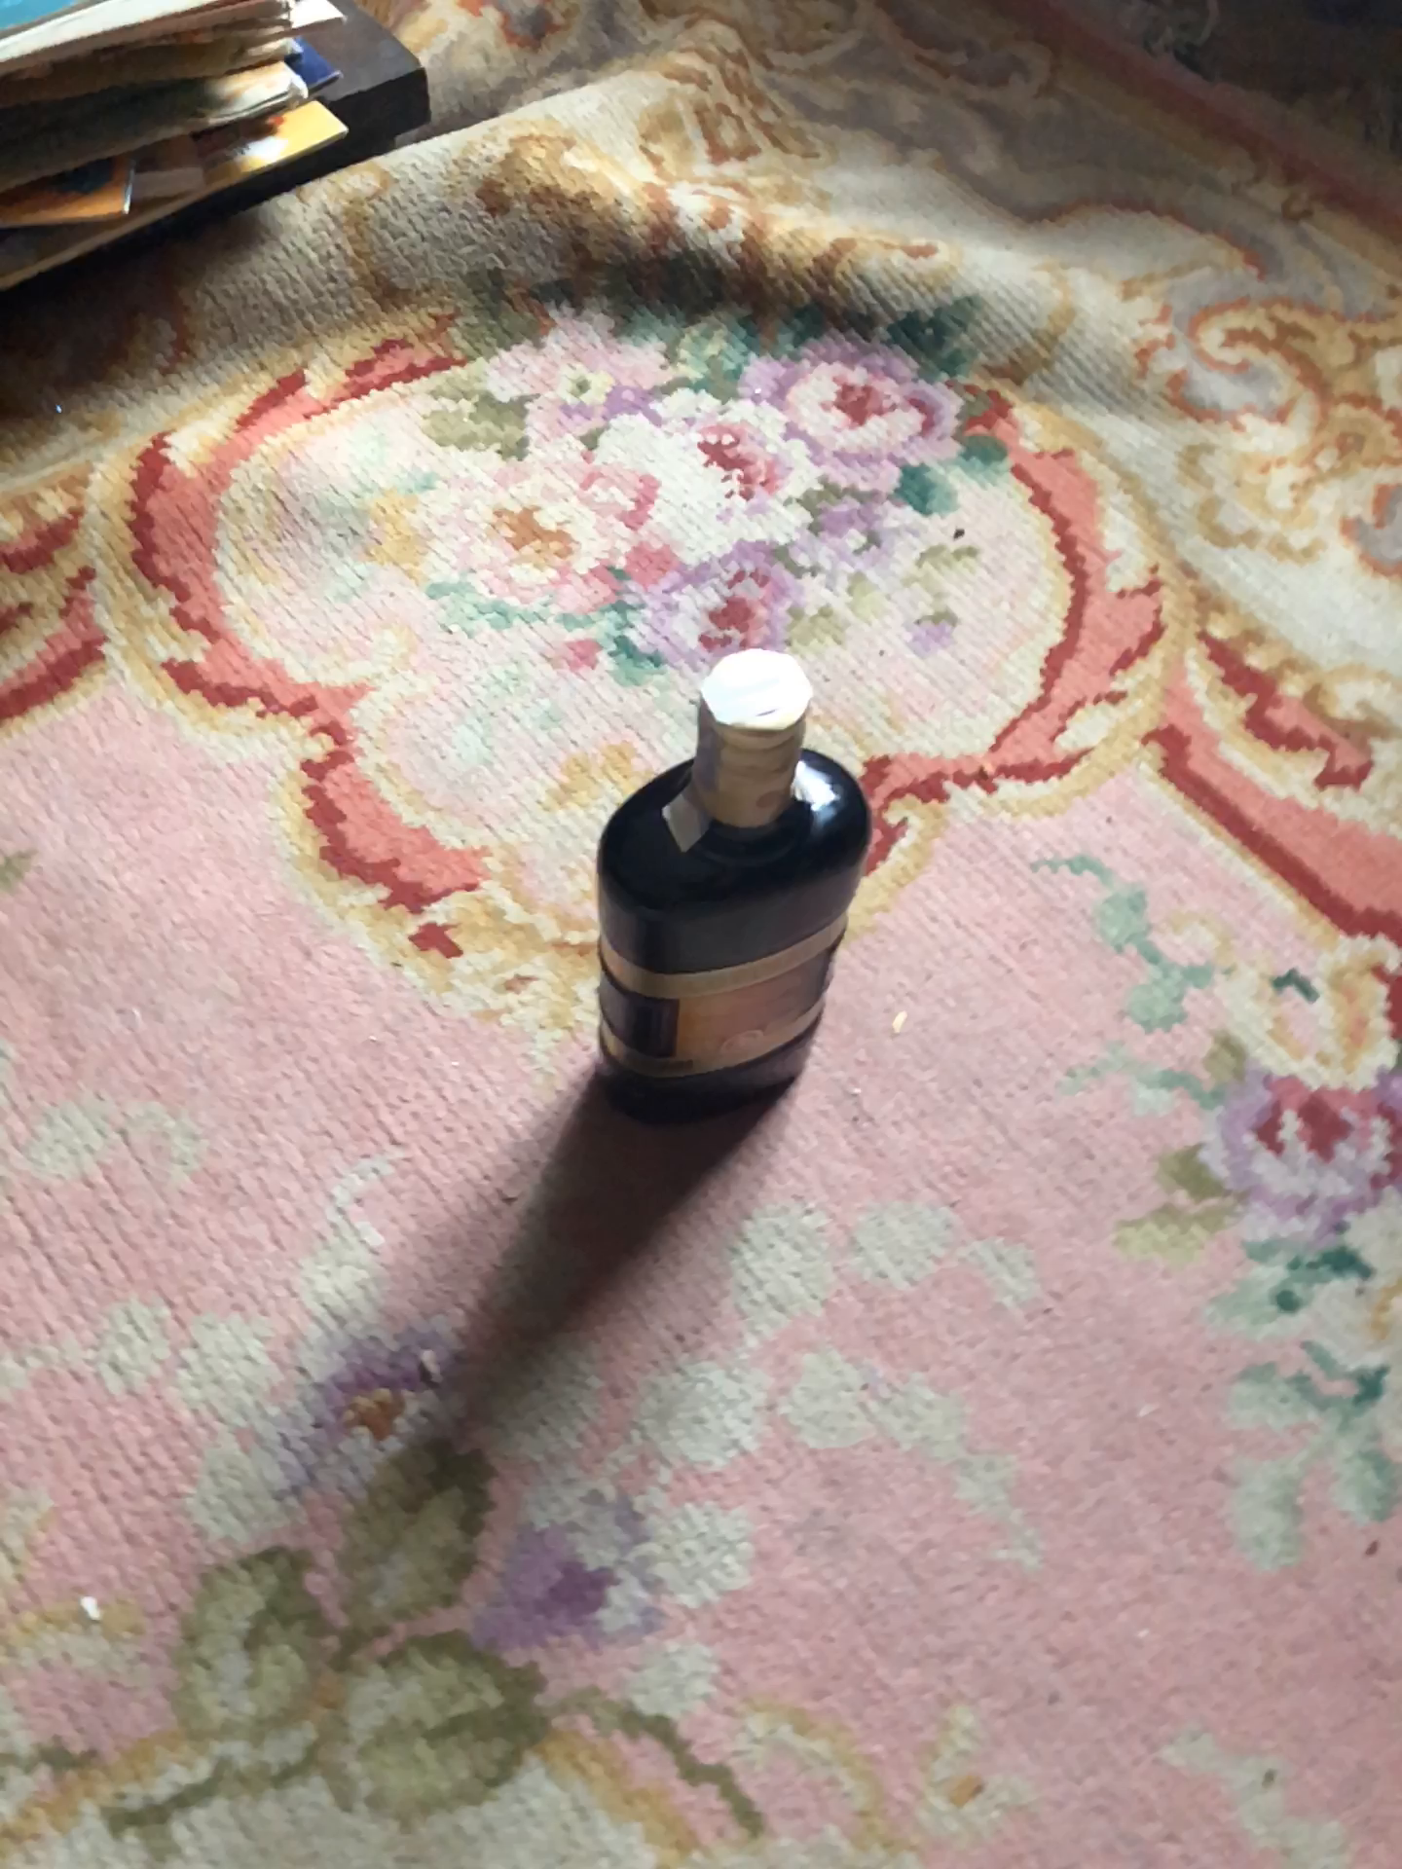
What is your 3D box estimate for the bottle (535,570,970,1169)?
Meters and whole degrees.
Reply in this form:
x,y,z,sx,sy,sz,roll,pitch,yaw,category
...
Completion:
x,y,z,sx,sy,sz,roll,pitch,yaw,category
0.008,-0.005,0.494,0.100,0.239,0.050,-15,62,-11,bottle
